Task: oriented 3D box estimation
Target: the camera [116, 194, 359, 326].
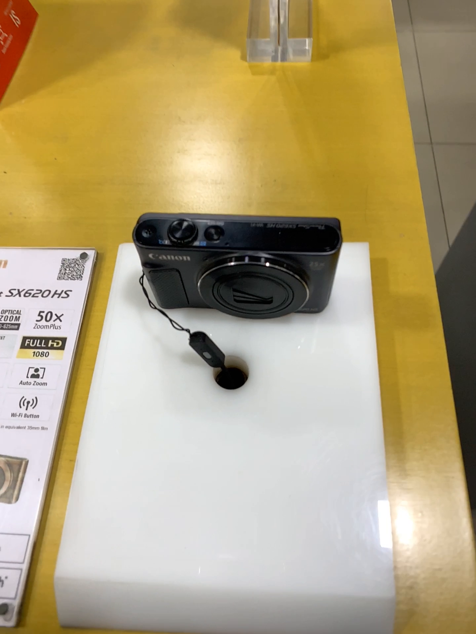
[{"bbox_3d":[0.002,-0.025,0.233,0.100,0.060,0.030,3,63,5],"label":"camera"}]
